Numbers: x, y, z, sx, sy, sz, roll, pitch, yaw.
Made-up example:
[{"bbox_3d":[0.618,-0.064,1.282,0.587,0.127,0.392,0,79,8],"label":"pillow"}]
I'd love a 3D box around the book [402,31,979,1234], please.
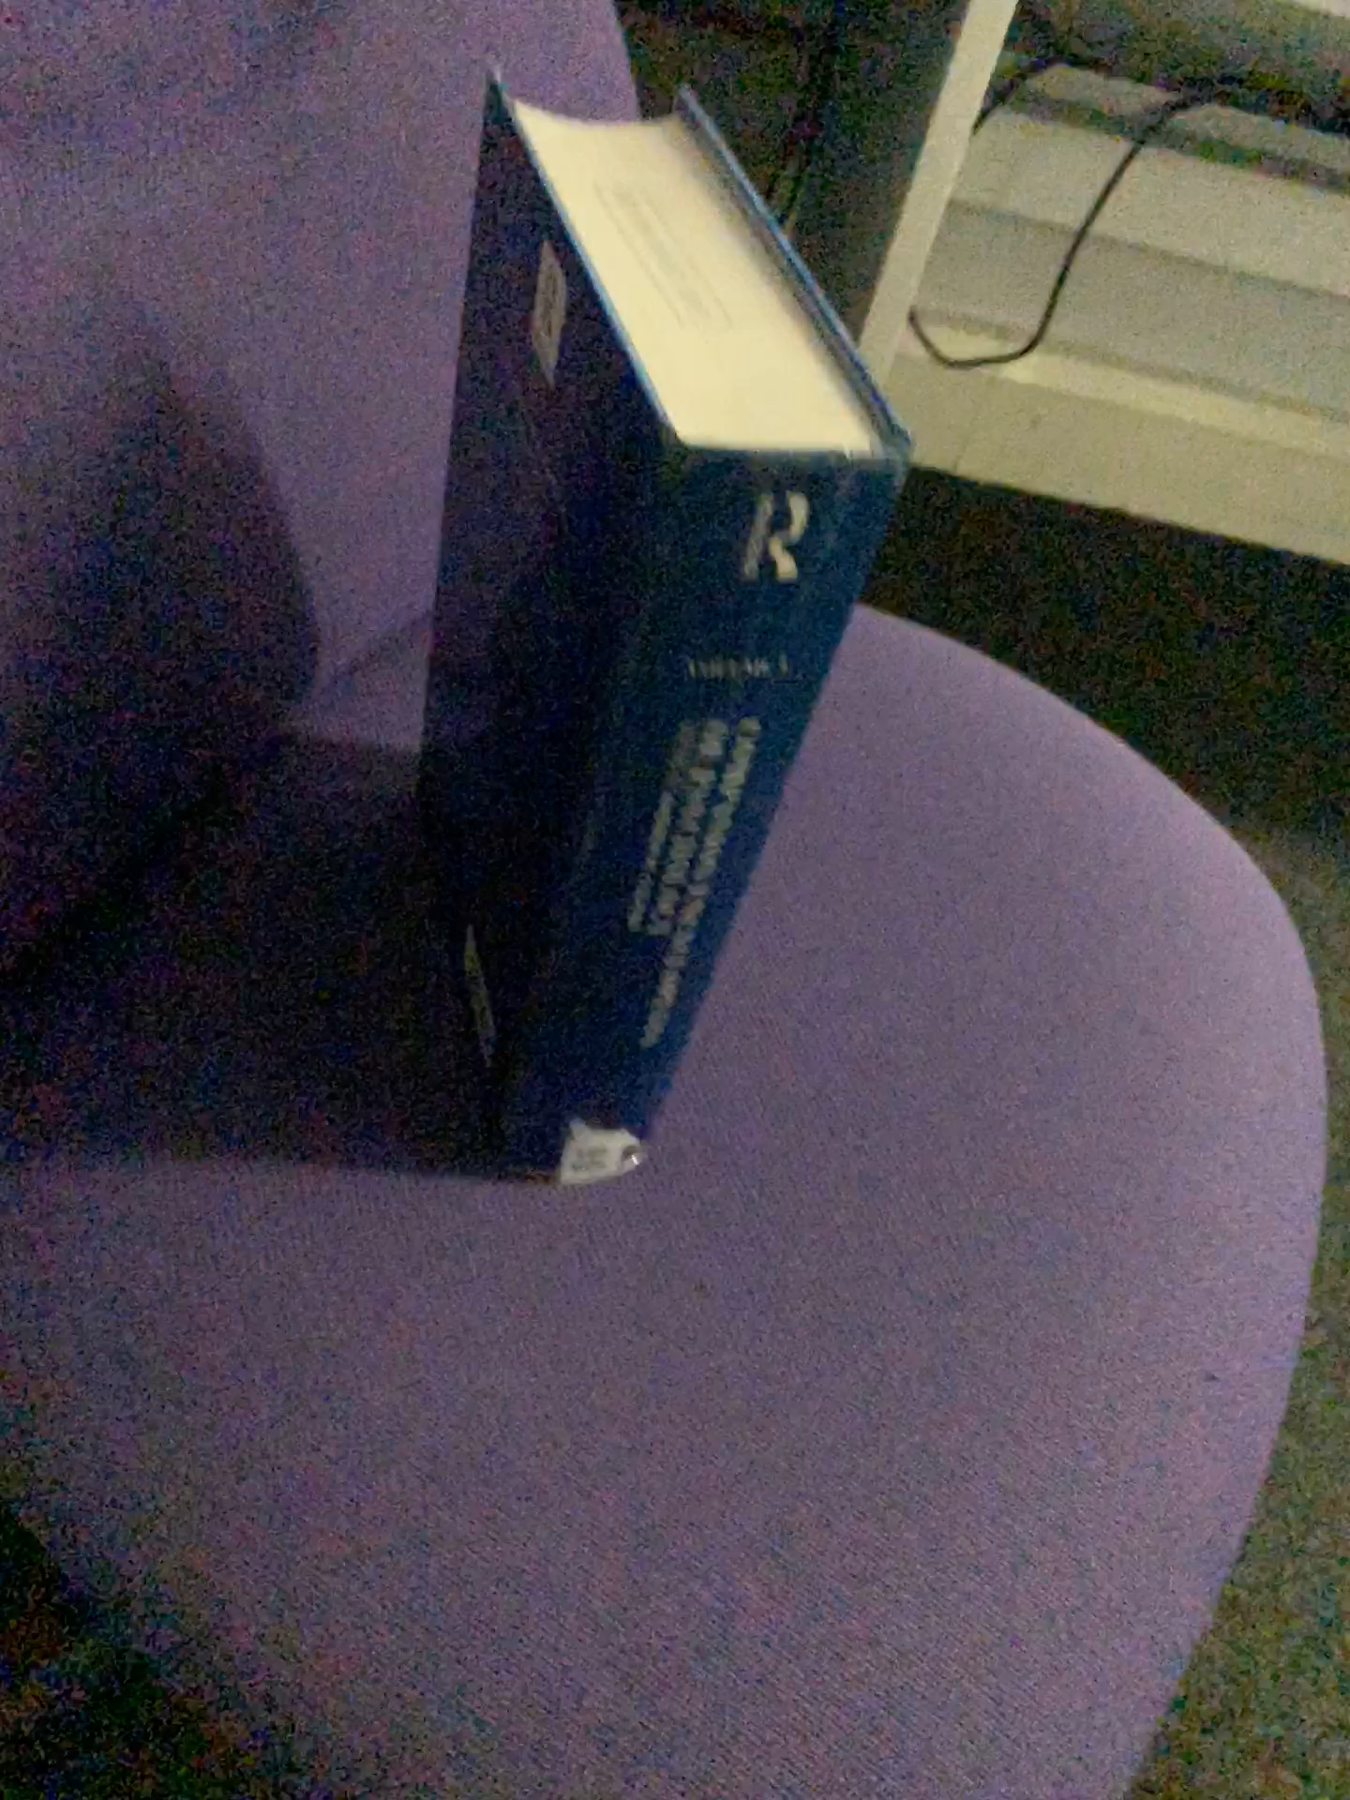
[{"bbox_3d":[-0.025,-0.055,0.385,0.052,0.264,0.183,-3,52,-20],"label":"book"}]
